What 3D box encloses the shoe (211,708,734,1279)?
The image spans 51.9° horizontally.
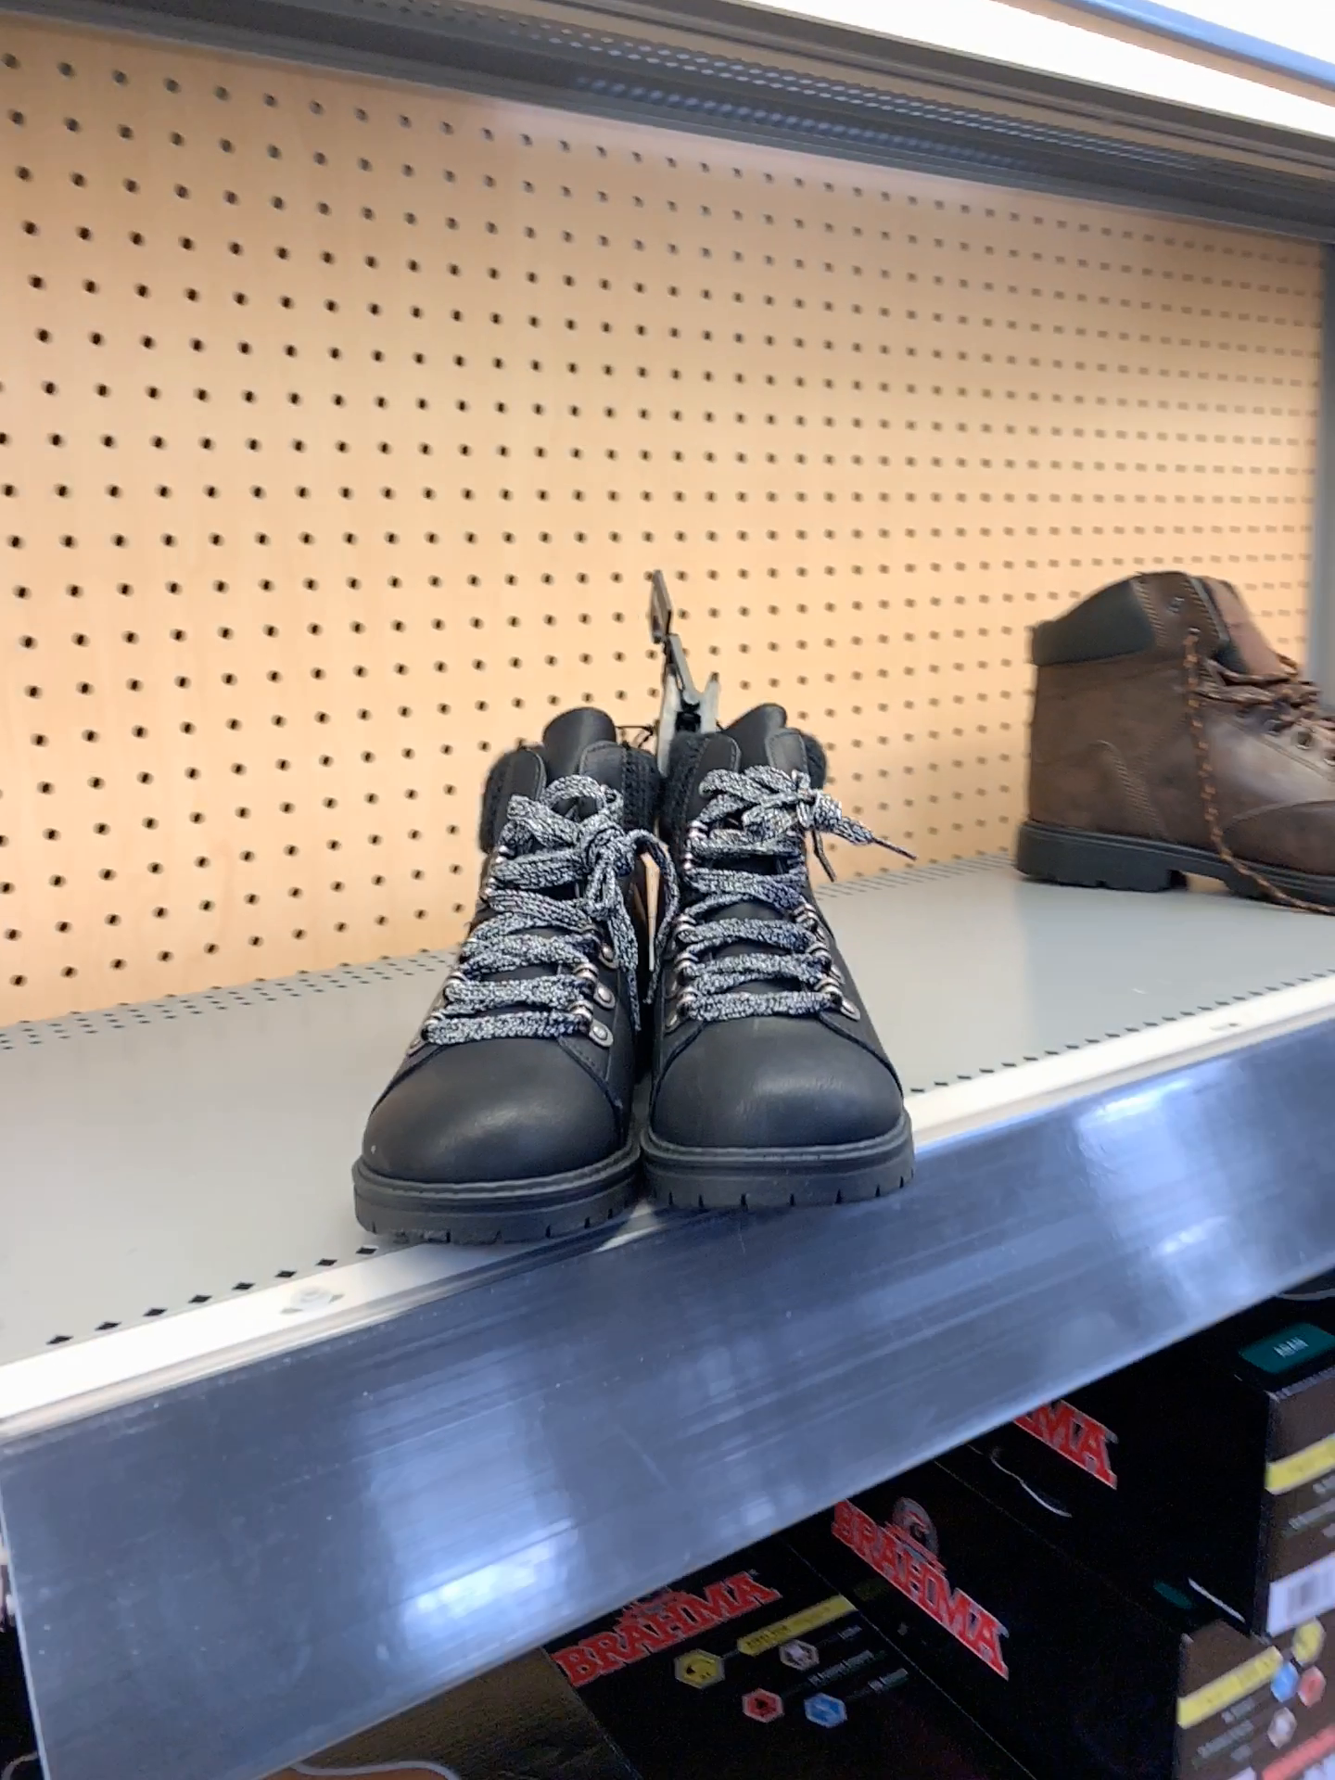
[{"bbox_3d":[-0.047,0.015,0.488,0.104,0.137,0.236,0,12,12],"label":"shoe"}]

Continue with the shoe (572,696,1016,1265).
[{"bbox_3d":[0.029,0.010,0.486,0.105,0.137,0.232,-3,12,-7],"label":"shoe"}]
